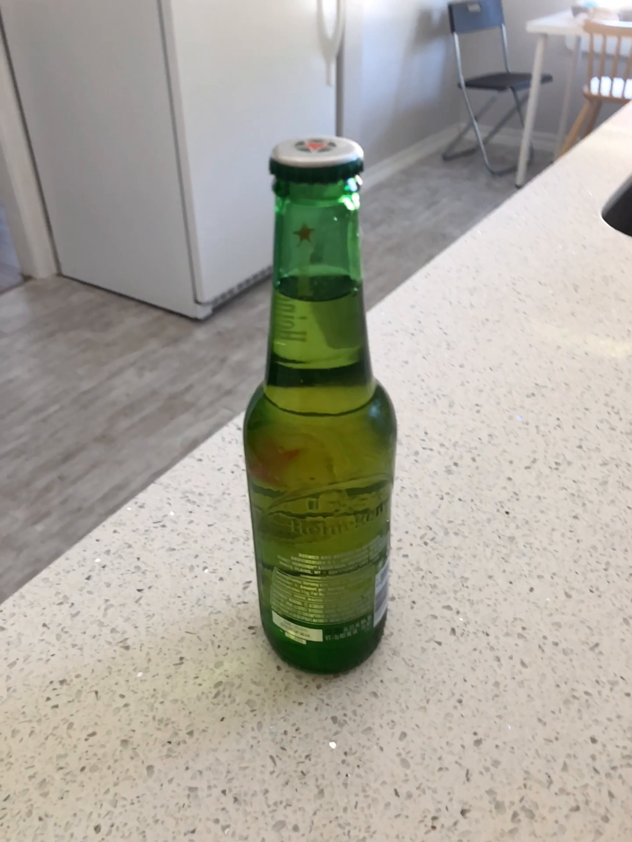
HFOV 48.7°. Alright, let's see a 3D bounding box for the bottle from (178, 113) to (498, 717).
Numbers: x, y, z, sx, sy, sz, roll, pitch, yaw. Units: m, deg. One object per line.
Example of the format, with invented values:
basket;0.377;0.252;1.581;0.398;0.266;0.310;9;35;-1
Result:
bottle;0.004;0.009;0.257;0.070;0.209;0.070;-1;36;1
